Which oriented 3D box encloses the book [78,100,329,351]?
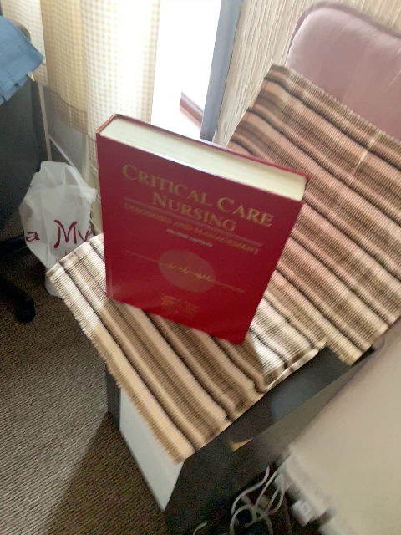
[{"bbox_3d":[-0.014,-0.029,0.523,0.250,0.287,0.061,19,50,6],"label":"book"}]
